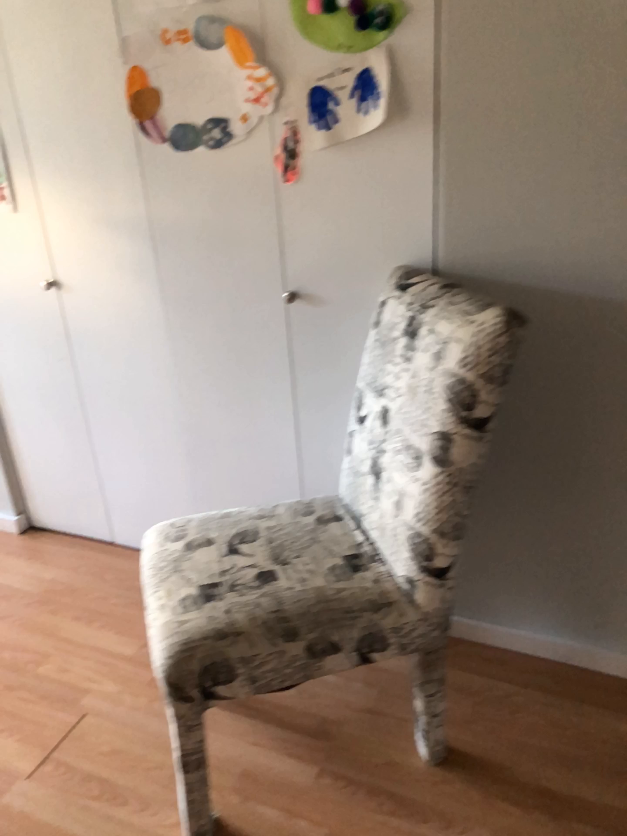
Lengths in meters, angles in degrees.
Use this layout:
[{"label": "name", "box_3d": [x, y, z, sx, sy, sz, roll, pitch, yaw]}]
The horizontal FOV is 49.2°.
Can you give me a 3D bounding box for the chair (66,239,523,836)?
[{"label": "chair", "box_3d": [-0.038, 0.214, 1.402, 0.670, 0.997, 0.522, -10, 24, -12]}]
